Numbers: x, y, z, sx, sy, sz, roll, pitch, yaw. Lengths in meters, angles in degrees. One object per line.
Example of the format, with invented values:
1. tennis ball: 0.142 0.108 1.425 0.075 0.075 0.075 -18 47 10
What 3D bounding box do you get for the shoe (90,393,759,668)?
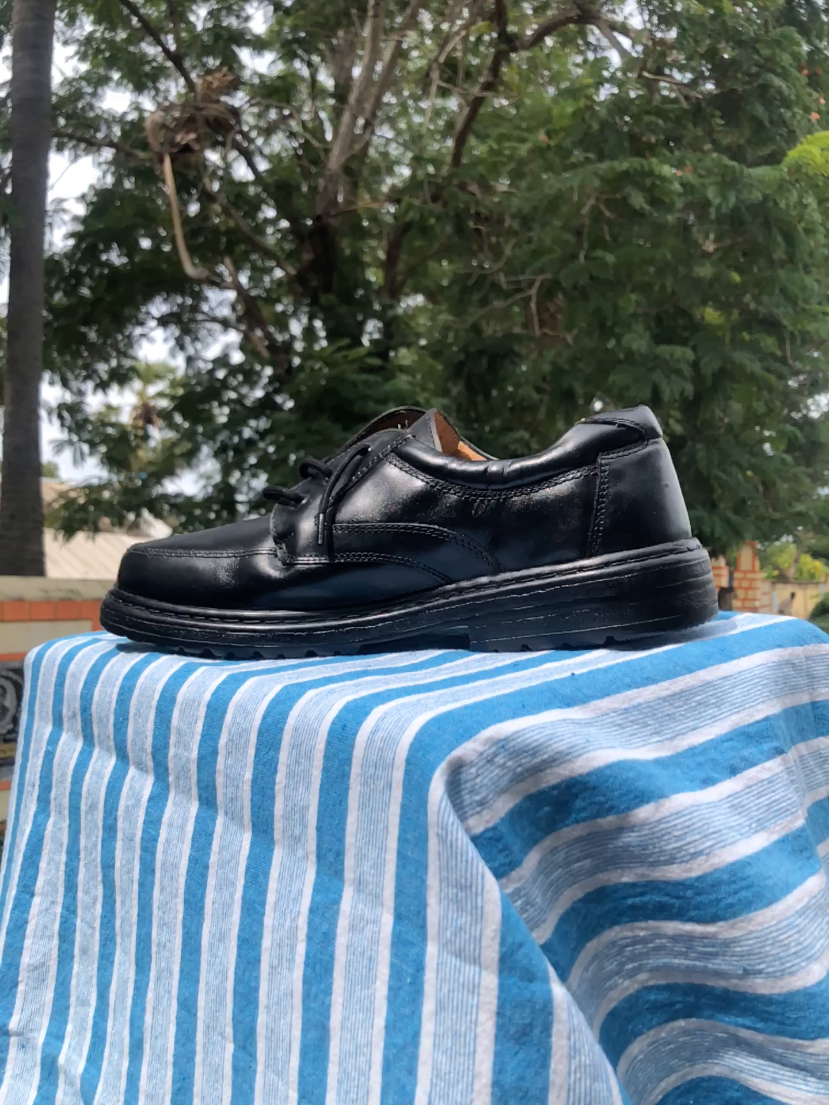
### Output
1. shoe: 0.006 -0.011 0.433 0.290 0.100 0.110 0 2 18
